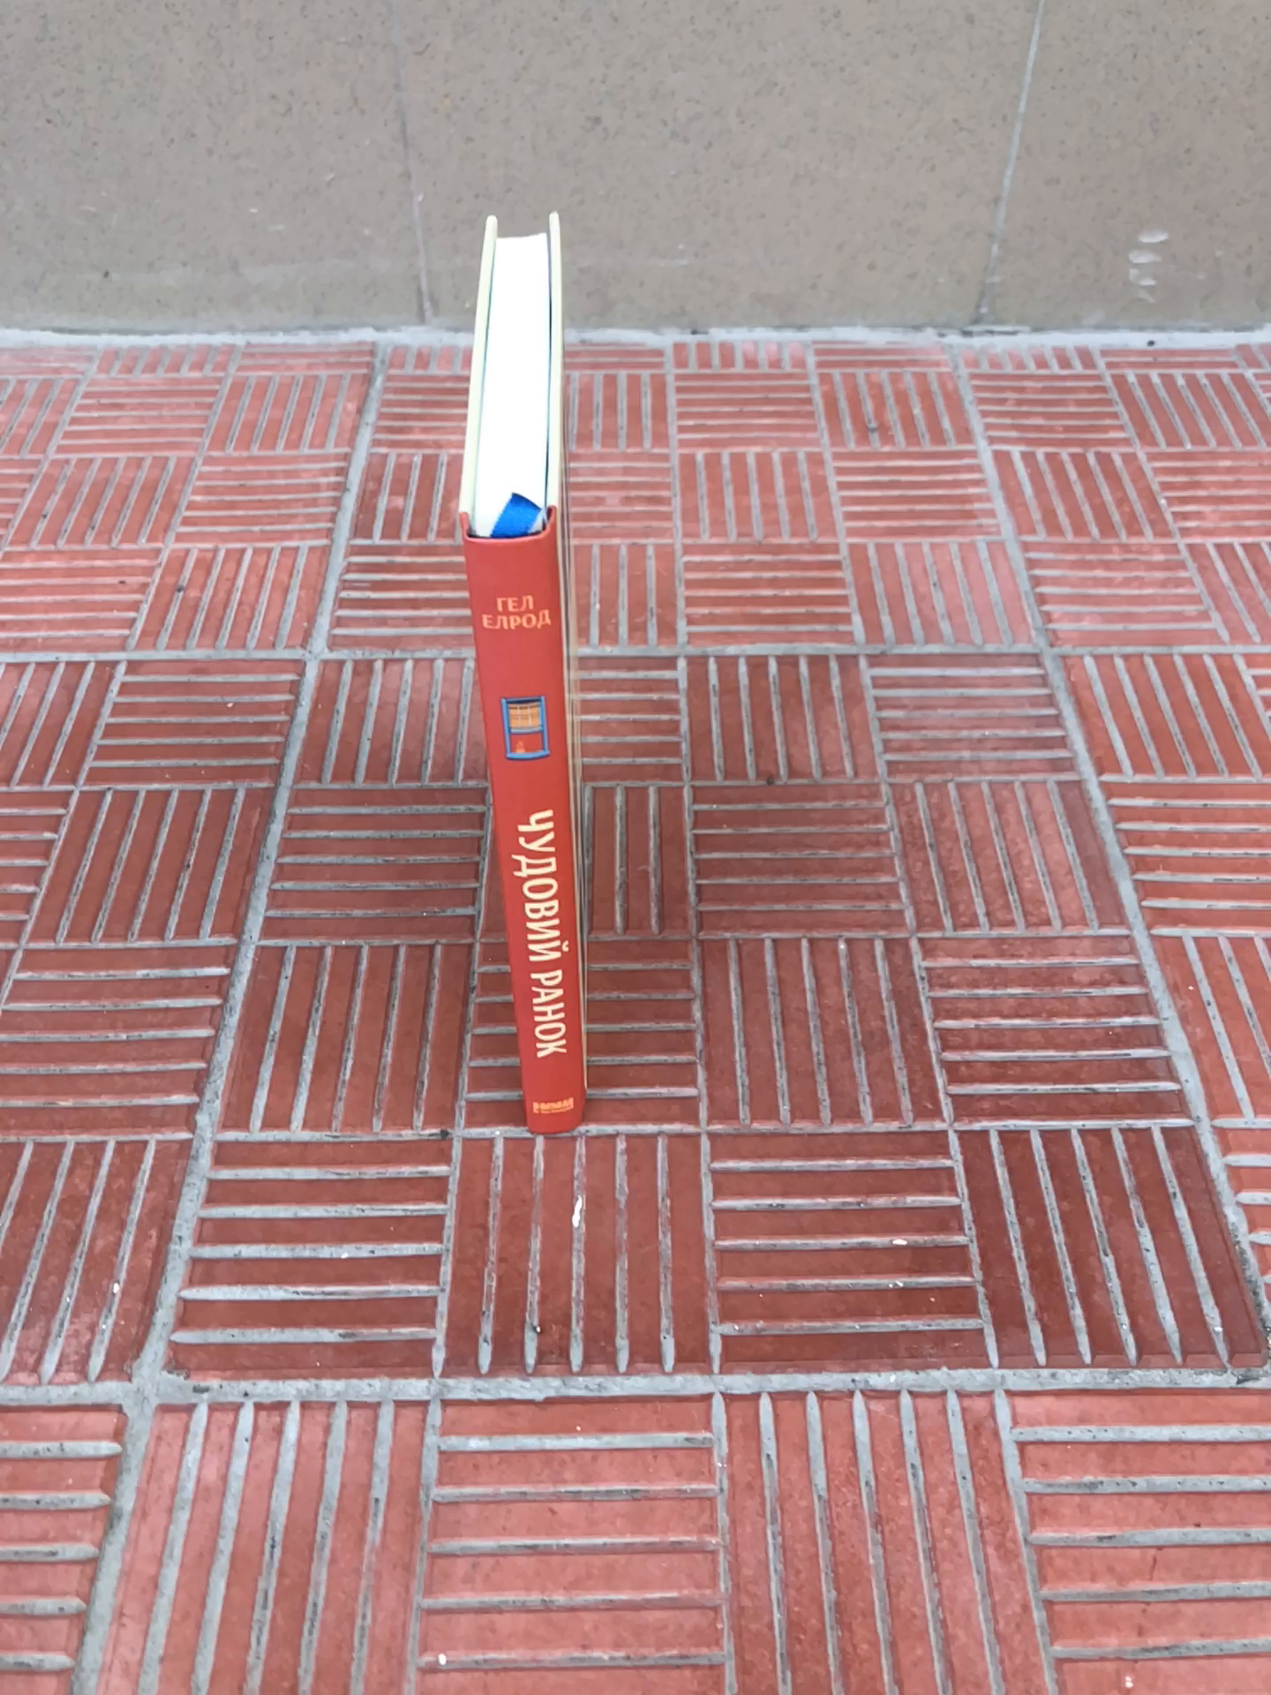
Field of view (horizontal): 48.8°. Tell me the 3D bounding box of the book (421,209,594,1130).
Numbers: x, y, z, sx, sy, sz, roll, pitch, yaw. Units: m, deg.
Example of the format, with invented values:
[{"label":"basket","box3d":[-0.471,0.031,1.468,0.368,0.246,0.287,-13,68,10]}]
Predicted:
[{"label":"book","box3d":[-0.027,-0.041,0.374,0.025,0.196,0.145,-2,47,-1]}]
